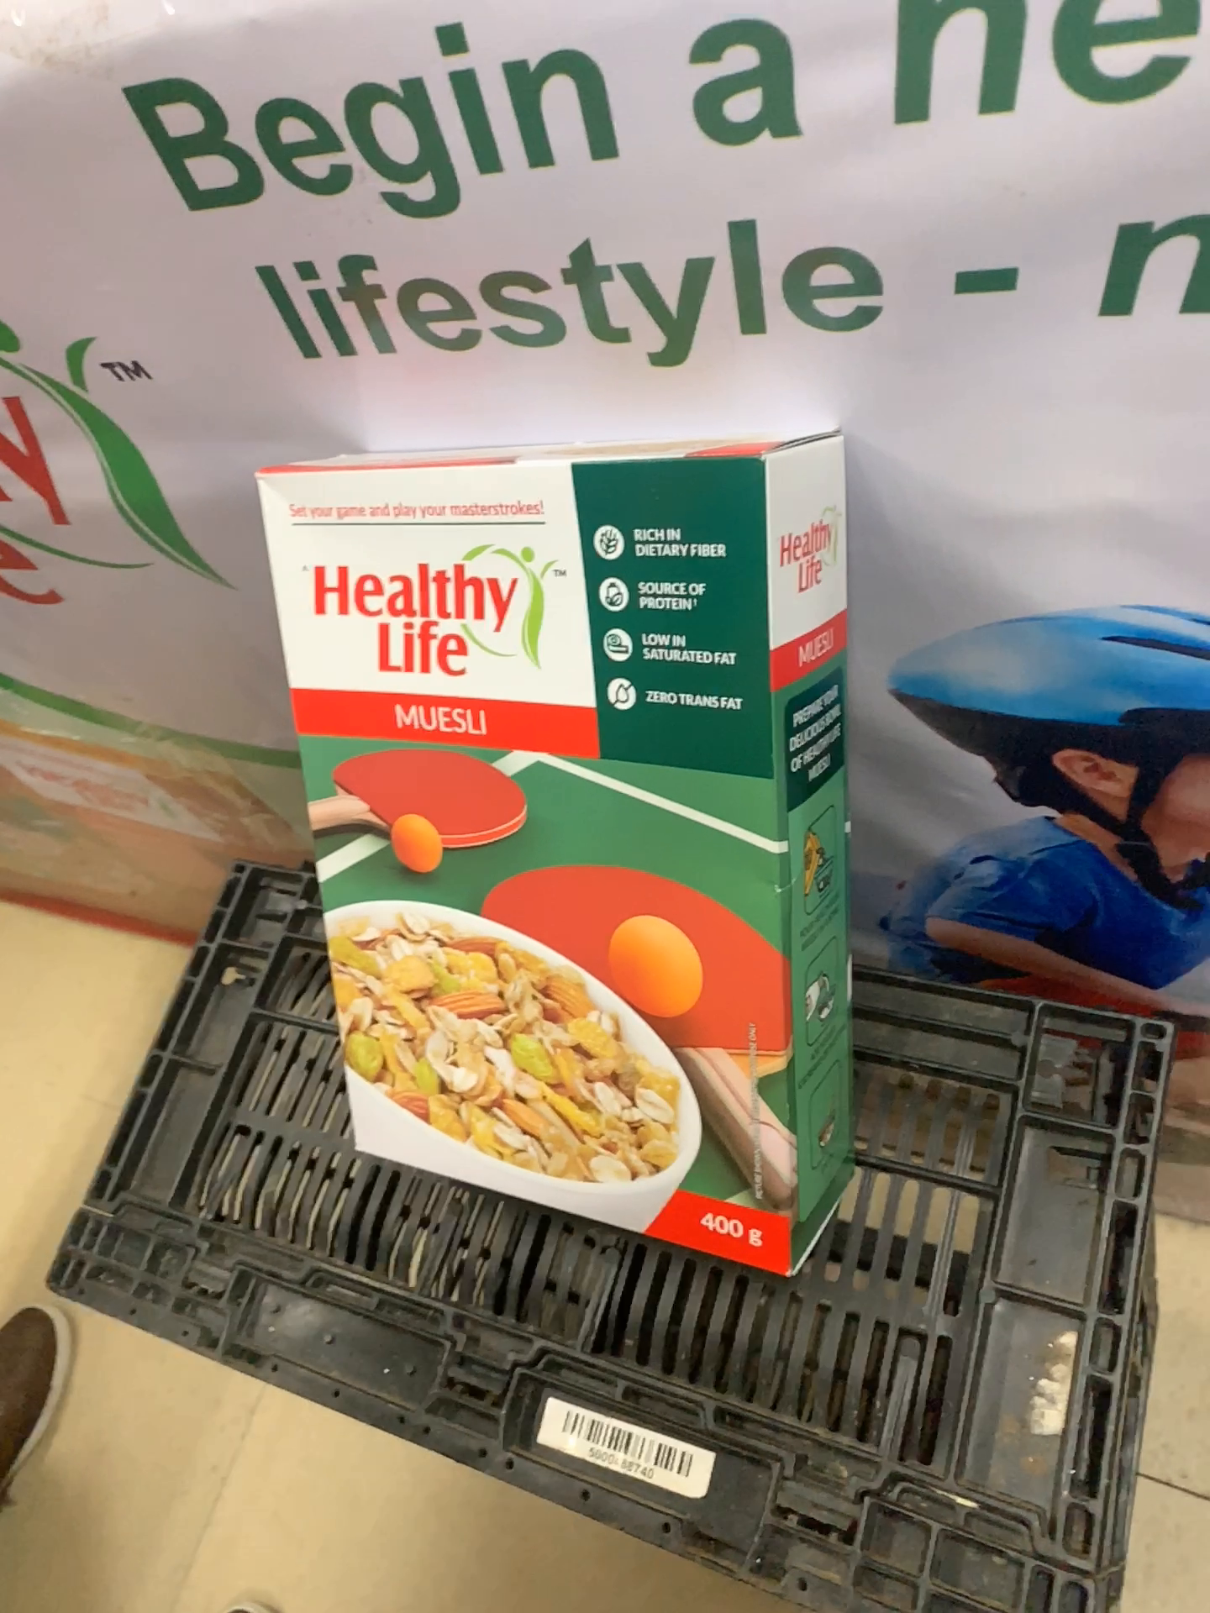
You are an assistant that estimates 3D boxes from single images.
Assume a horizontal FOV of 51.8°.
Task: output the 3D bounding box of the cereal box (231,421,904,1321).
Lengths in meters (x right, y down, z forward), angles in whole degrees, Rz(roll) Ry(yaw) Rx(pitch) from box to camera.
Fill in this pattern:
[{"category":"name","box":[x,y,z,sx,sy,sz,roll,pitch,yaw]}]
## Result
[{"category":"cereal box","box":[-0.006,0.009,0.377,0.171,0.230,0.080,6,19,30]}]
